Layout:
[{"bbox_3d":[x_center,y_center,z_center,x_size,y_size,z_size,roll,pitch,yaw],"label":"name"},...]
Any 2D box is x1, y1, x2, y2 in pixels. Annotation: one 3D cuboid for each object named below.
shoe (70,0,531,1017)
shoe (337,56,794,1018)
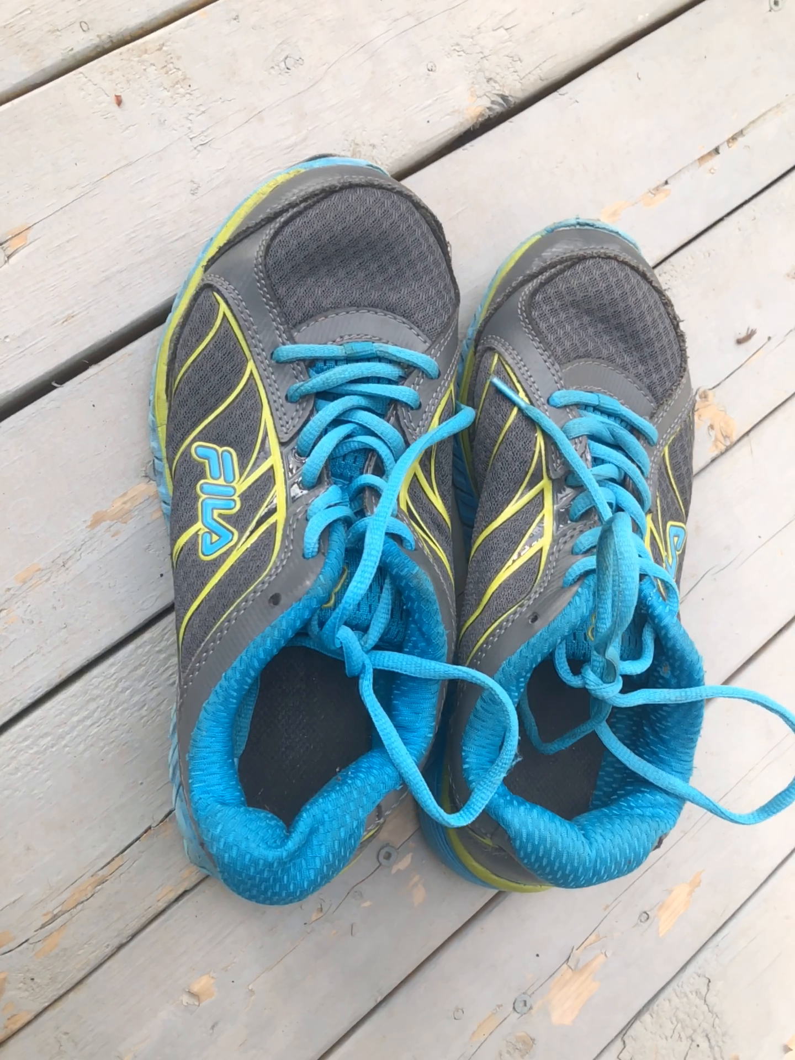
[{"bbox_3d":[-0.040,-0.008,0.317,0.110,0.130,0.290,5,87,-15],"label":"shoe"},{"bbox_3d":[0.063,0.005,0.312,0.110,0.090,0.280,10,86,-15],"label":"shoe"}]
